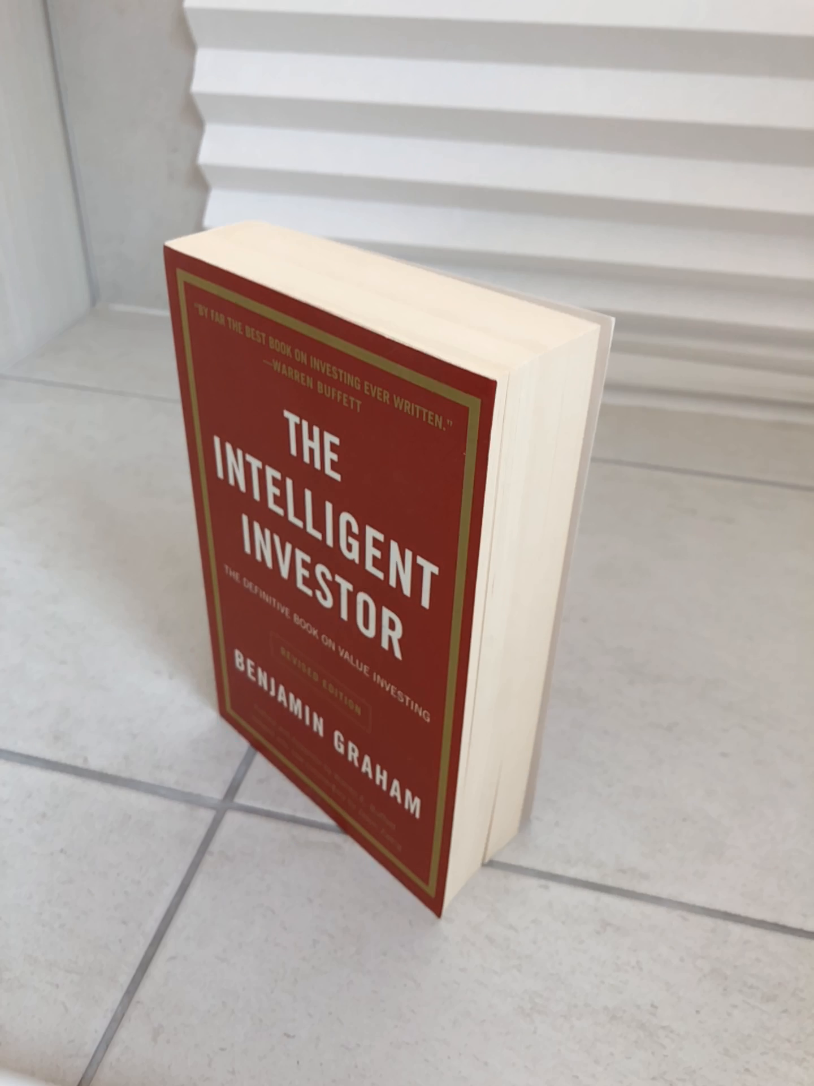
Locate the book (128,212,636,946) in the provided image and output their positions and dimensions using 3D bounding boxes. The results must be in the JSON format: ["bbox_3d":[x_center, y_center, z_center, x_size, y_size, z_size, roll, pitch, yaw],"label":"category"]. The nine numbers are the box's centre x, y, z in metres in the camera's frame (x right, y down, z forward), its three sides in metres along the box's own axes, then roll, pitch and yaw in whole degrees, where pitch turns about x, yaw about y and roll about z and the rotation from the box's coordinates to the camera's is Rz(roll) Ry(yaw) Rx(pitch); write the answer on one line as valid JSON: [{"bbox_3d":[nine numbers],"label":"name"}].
[{"bbox_3d":[-0.016,0.011,0.317,0.057,0.206,0.149,-28,44,-36],"label":"book"}]
